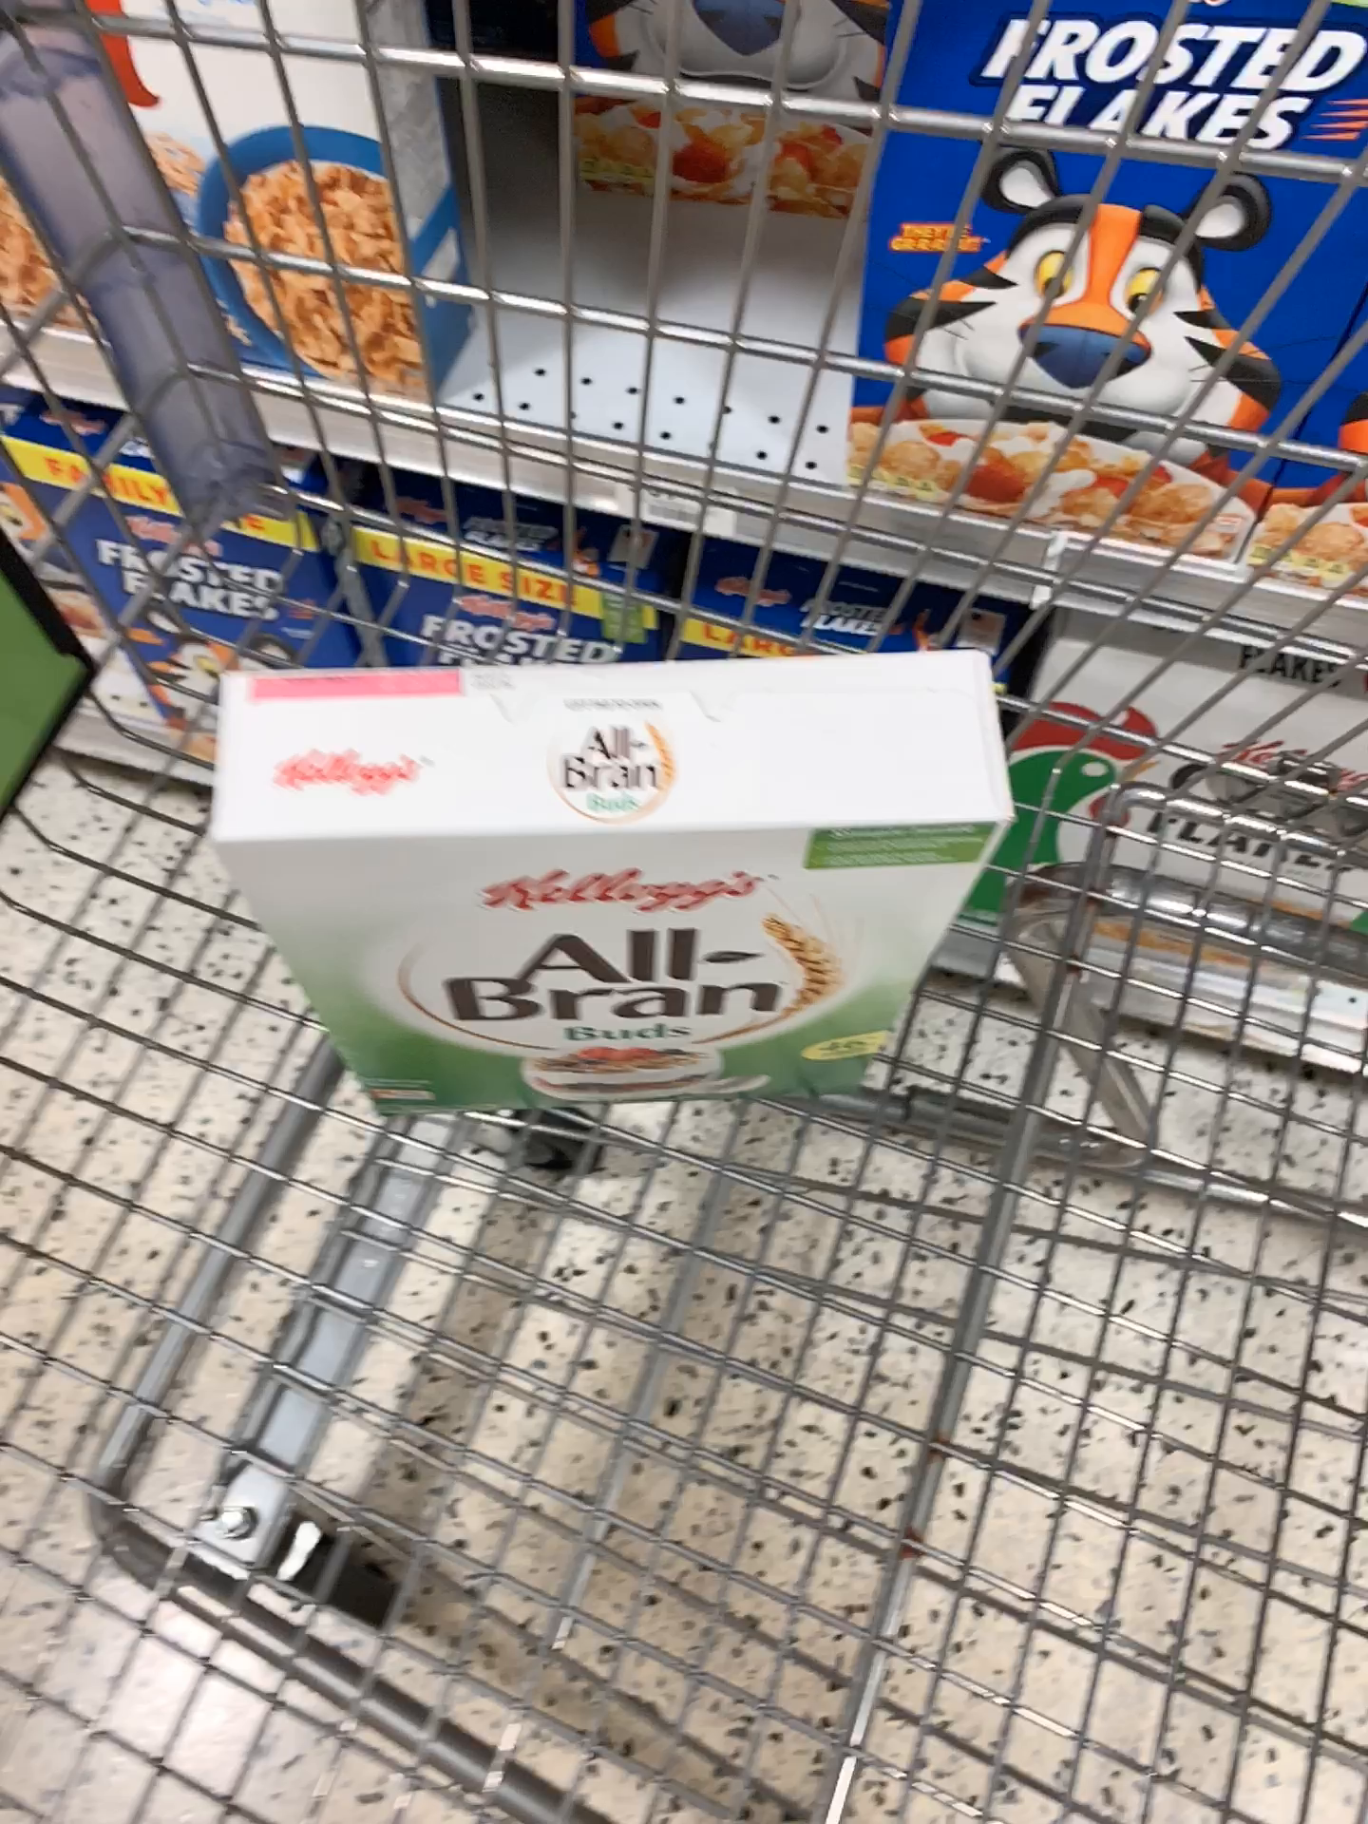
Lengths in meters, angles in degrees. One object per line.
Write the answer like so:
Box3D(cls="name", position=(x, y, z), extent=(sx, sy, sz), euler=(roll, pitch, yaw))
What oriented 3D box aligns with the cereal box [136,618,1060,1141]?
Box3D(cls="cereal box", position=(-0.021, 0.013, 0.453), extent=(0.200, 0.298, 0.050), euler=(-2, 69, -2))
